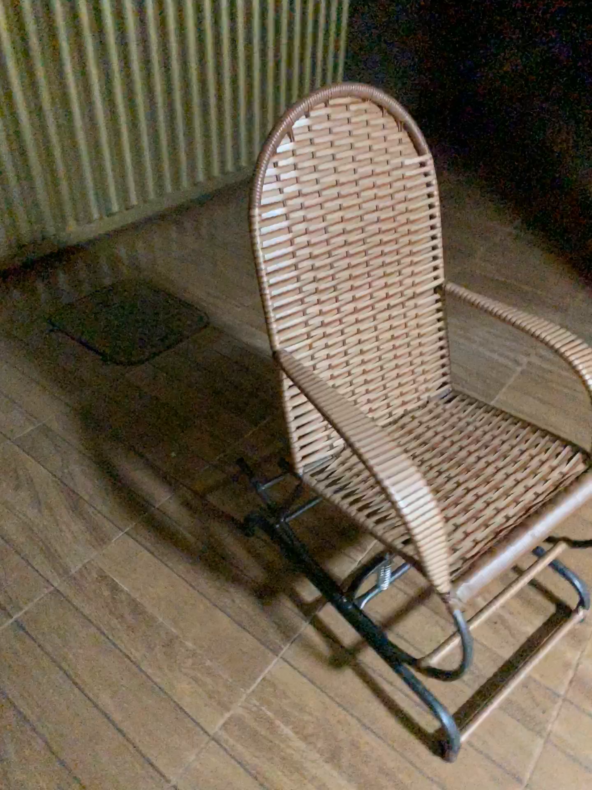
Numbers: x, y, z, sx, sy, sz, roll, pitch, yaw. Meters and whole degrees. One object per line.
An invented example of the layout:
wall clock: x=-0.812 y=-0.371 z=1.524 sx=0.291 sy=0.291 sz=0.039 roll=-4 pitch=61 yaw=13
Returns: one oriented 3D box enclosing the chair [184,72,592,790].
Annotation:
chair: x=0.275 y=0.048 z=1.203 sx=0.601 sy=1.050 sz=0.783 roll=-25 pitch=47 yaw=-31
